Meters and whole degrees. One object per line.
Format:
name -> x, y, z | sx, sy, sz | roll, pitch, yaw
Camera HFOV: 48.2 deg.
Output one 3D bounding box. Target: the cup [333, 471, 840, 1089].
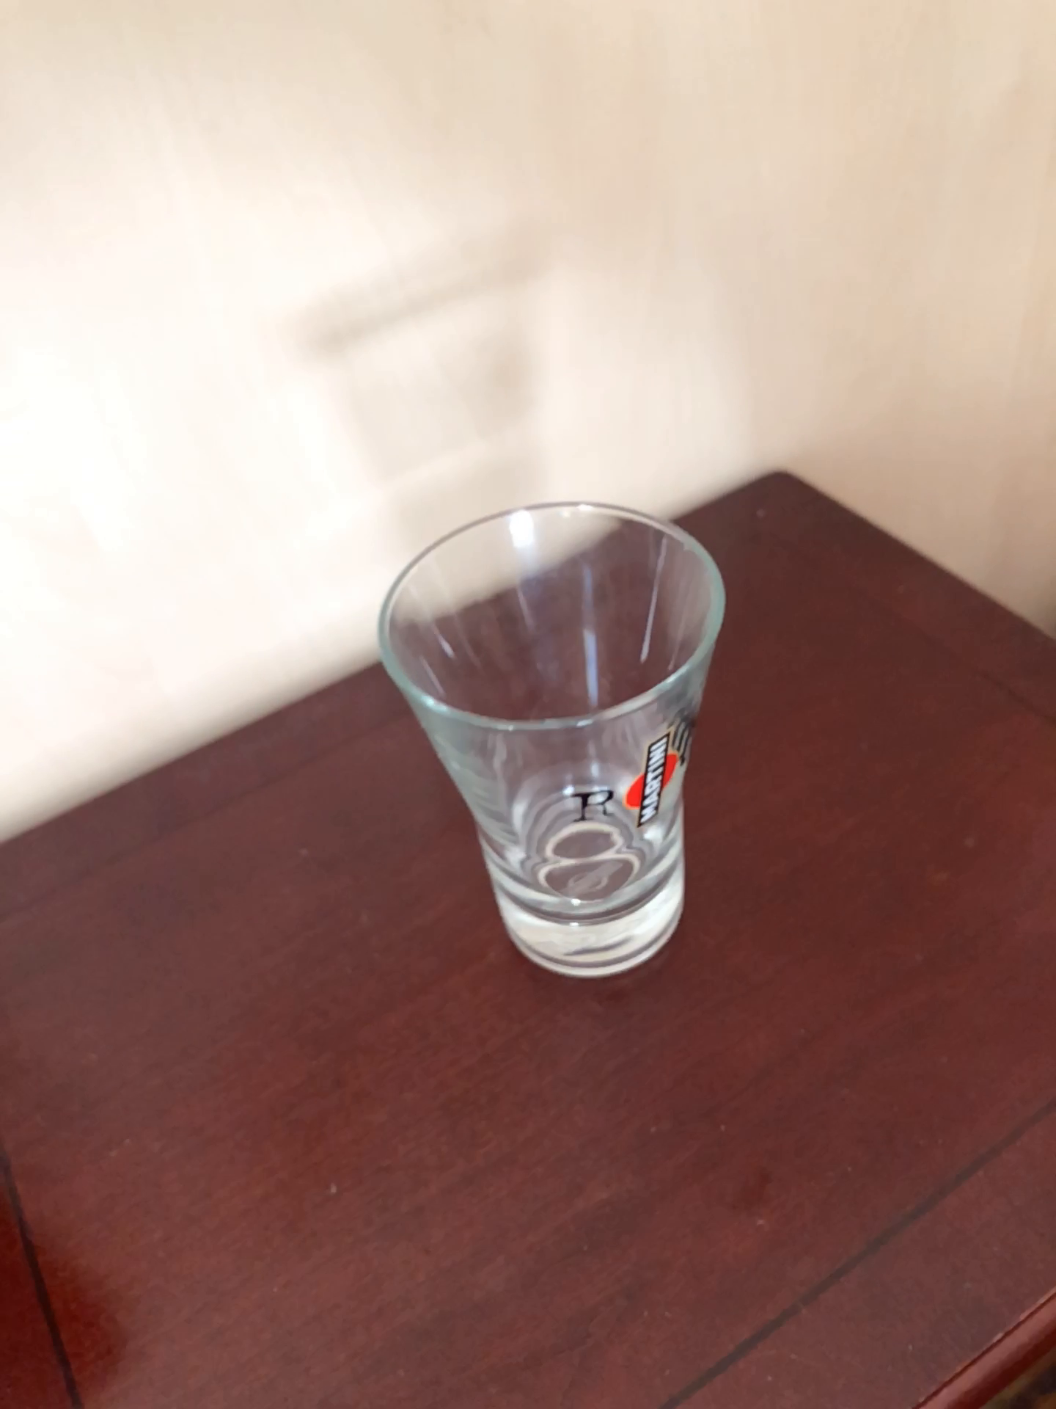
cup -> 0.019, 0.020, 0.340 | 0.094, 0.118, 0.094 | -6, 43, 5
